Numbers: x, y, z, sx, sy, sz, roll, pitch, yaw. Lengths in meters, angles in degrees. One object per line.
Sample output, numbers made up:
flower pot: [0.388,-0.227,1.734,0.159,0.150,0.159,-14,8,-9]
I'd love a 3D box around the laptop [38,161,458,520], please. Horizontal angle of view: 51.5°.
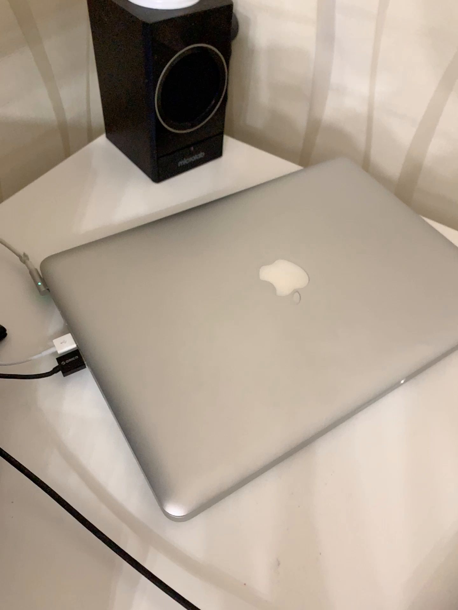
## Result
laptop: [0.039,-0.015,0.379,0.306,0.007,0.218,-24,58,-25]
